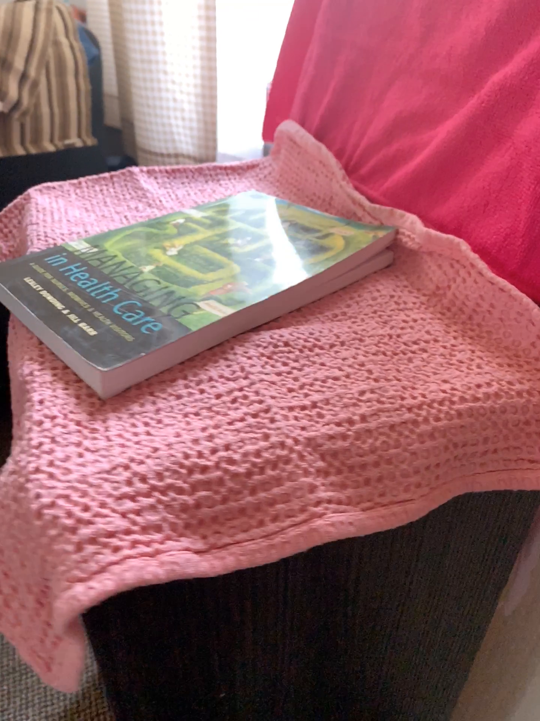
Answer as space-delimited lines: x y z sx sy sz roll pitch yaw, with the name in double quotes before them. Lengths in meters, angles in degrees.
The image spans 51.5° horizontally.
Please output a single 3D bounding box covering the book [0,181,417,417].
"book" -0.044 -0.065 0.377 0.241 0.020 0.171 -28 44 -34
